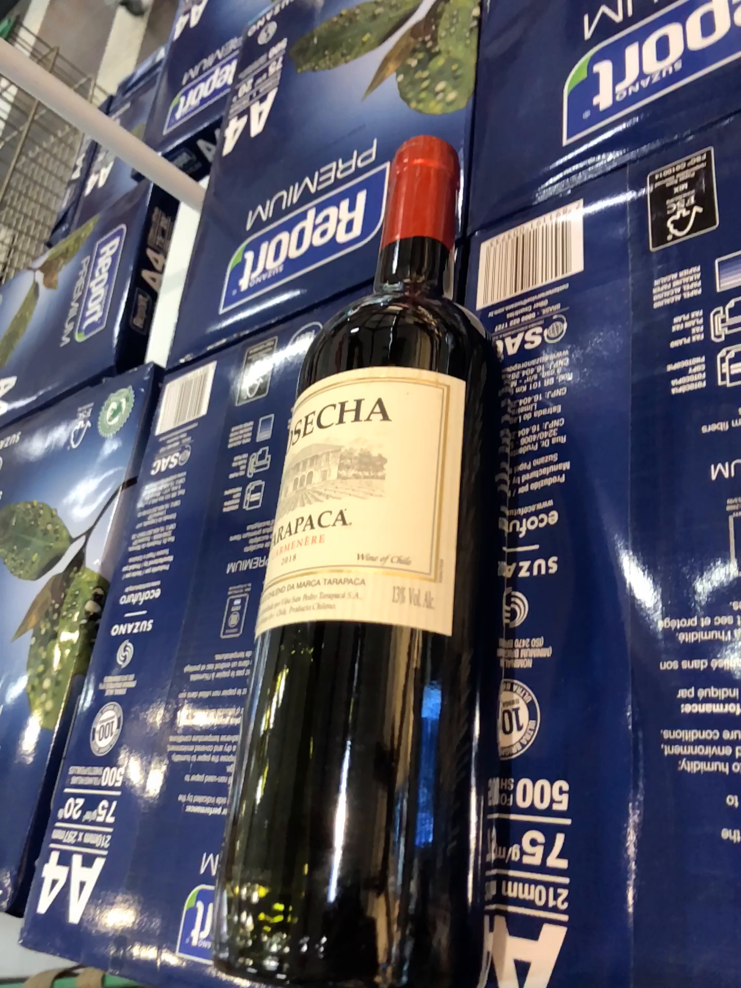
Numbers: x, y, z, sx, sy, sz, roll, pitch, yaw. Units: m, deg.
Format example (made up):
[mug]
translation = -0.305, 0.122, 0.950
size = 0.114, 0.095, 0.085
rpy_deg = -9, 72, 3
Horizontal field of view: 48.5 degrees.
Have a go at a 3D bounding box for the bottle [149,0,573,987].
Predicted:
[bottle]
translation = 0.014, -0.024, 0.271
size = 0.080, 0.060, 0.331
rpy_deg = -14, 57, 38
